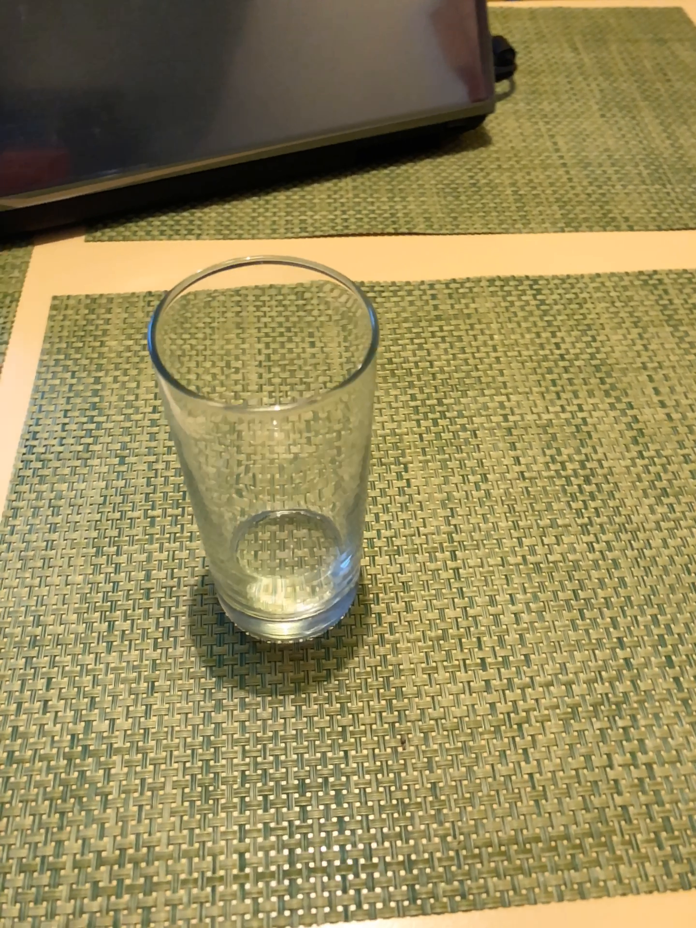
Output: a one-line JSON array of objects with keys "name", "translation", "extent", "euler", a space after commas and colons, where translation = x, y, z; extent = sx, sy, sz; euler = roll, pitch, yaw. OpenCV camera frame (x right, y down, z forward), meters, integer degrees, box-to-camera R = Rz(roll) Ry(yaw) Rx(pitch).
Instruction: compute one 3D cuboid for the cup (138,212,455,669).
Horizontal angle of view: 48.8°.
[{"name": "cup", "translation": [-0.017, 0.001, 0.259], "extent": [0.070, 0.139, 0.070], "euler": [0, 53, 0]}]
